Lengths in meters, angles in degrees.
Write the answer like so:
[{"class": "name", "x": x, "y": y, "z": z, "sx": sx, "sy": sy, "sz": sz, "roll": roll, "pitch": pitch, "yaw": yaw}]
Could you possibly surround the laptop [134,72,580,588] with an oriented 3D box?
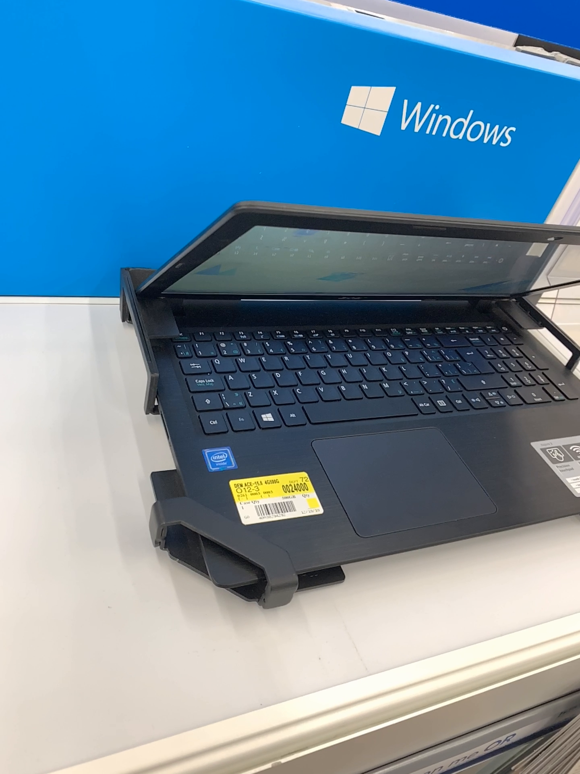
[{"class": "laptop", "x": 0.102, "y": -0.052, "z": 0.372, "sx": 0.344, "sy": 0.147, "sz": 0.227, "roll": -3, "pitch": 43, "yaw": -26}]
